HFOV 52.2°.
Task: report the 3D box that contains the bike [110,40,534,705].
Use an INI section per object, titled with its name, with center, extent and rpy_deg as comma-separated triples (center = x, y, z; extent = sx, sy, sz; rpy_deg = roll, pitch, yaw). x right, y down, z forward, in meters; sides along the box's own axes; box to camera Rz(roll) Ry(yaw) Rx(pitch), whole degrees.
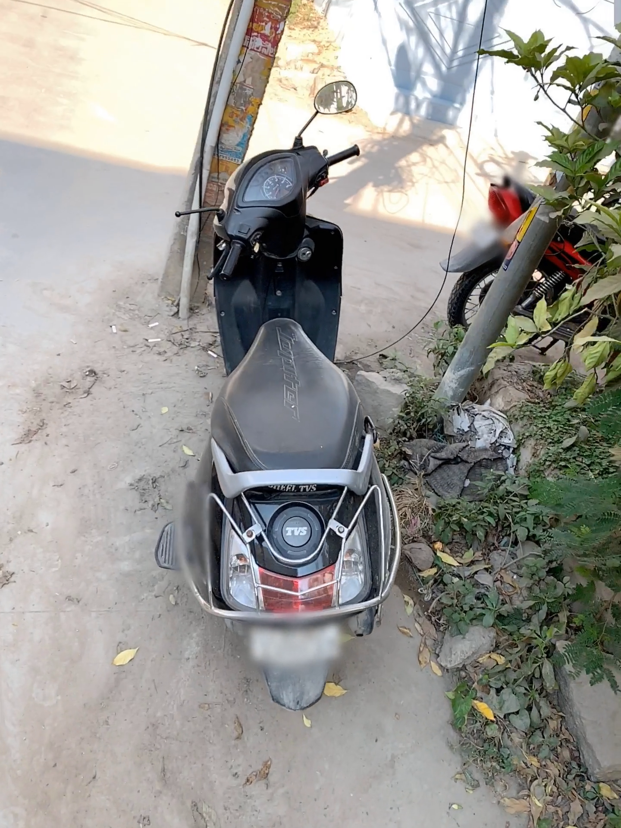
[bike]
center = -0.149, -0.276, 1.917
extent = 0.618, 0.944, 1.825
rpy_deg = 7, 42, -16
